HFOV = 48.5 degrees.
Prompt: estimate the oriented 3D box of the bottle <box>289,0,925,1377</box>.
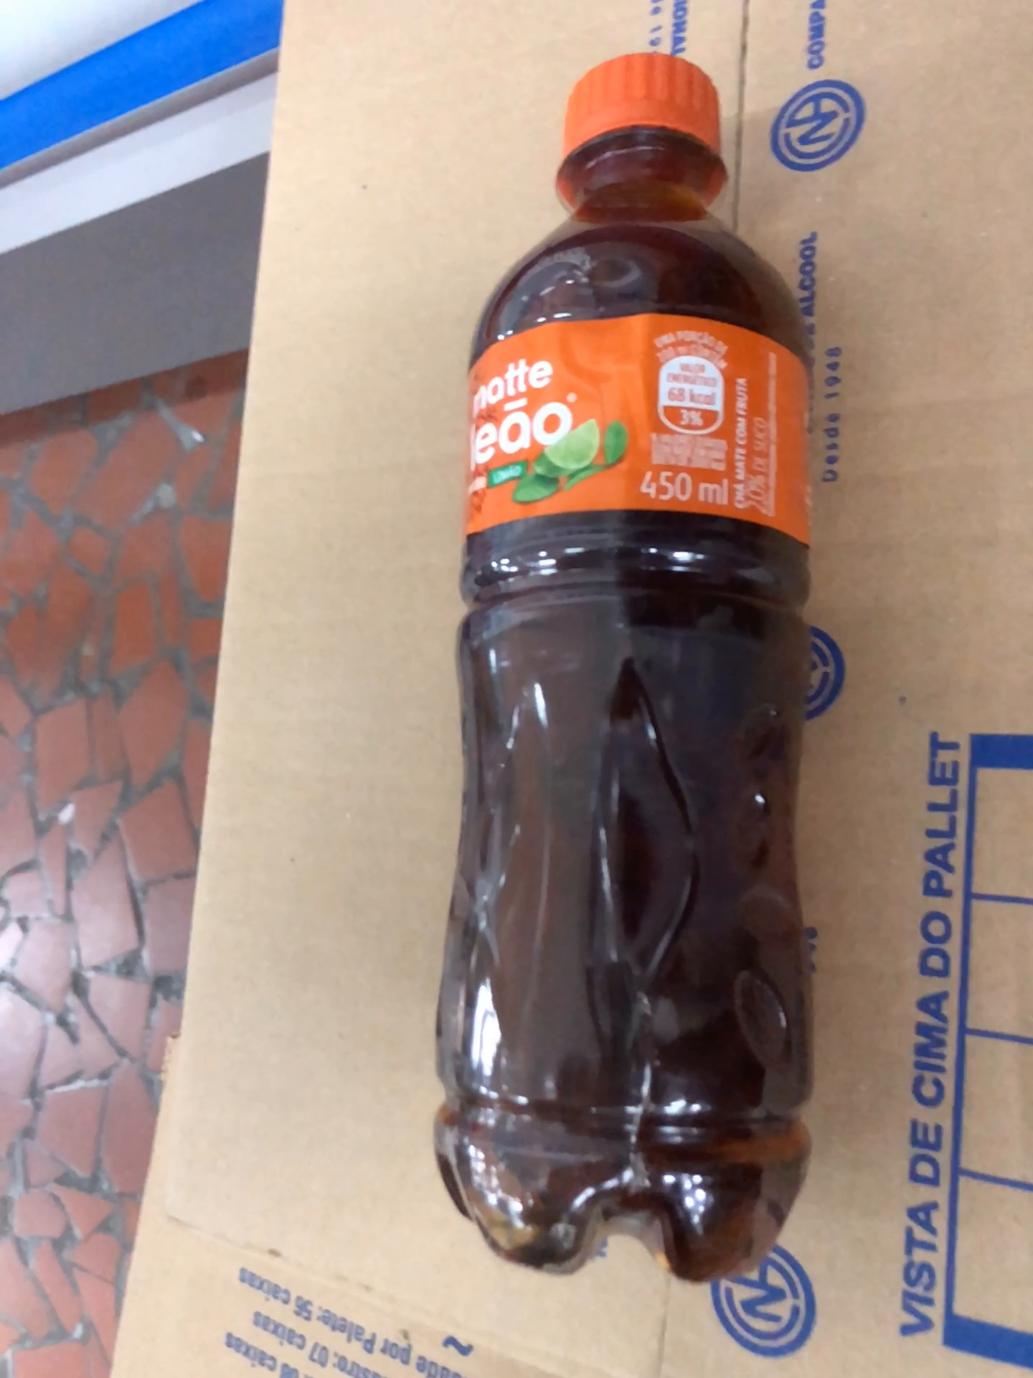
[{"bbox_3d":[0.020,-0.006,0.190,0.070,0.060,0.220,1,82,32],"label":"bottle"}]
